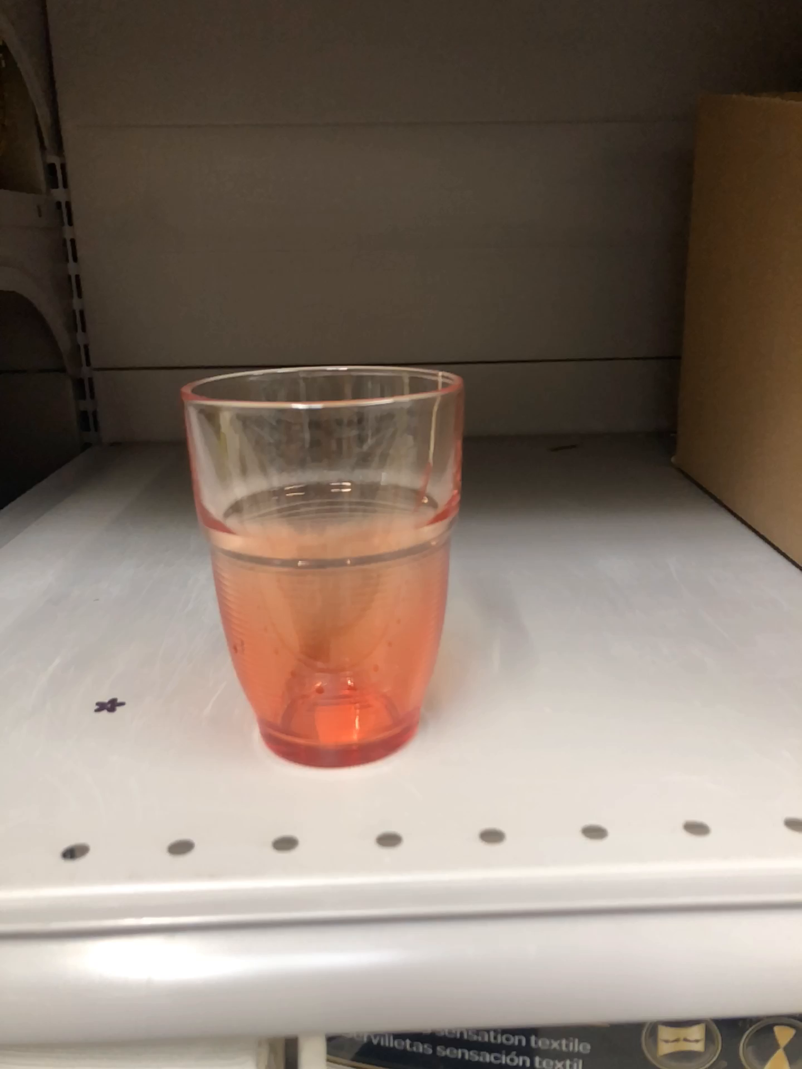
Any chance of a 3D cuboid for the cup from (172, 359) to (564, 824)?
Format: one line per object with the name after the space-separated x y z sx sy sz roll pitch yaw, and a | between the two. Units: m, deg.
-0.012 0.006 0.247 0.080 0.100 0.075 0 16 0 | cup
